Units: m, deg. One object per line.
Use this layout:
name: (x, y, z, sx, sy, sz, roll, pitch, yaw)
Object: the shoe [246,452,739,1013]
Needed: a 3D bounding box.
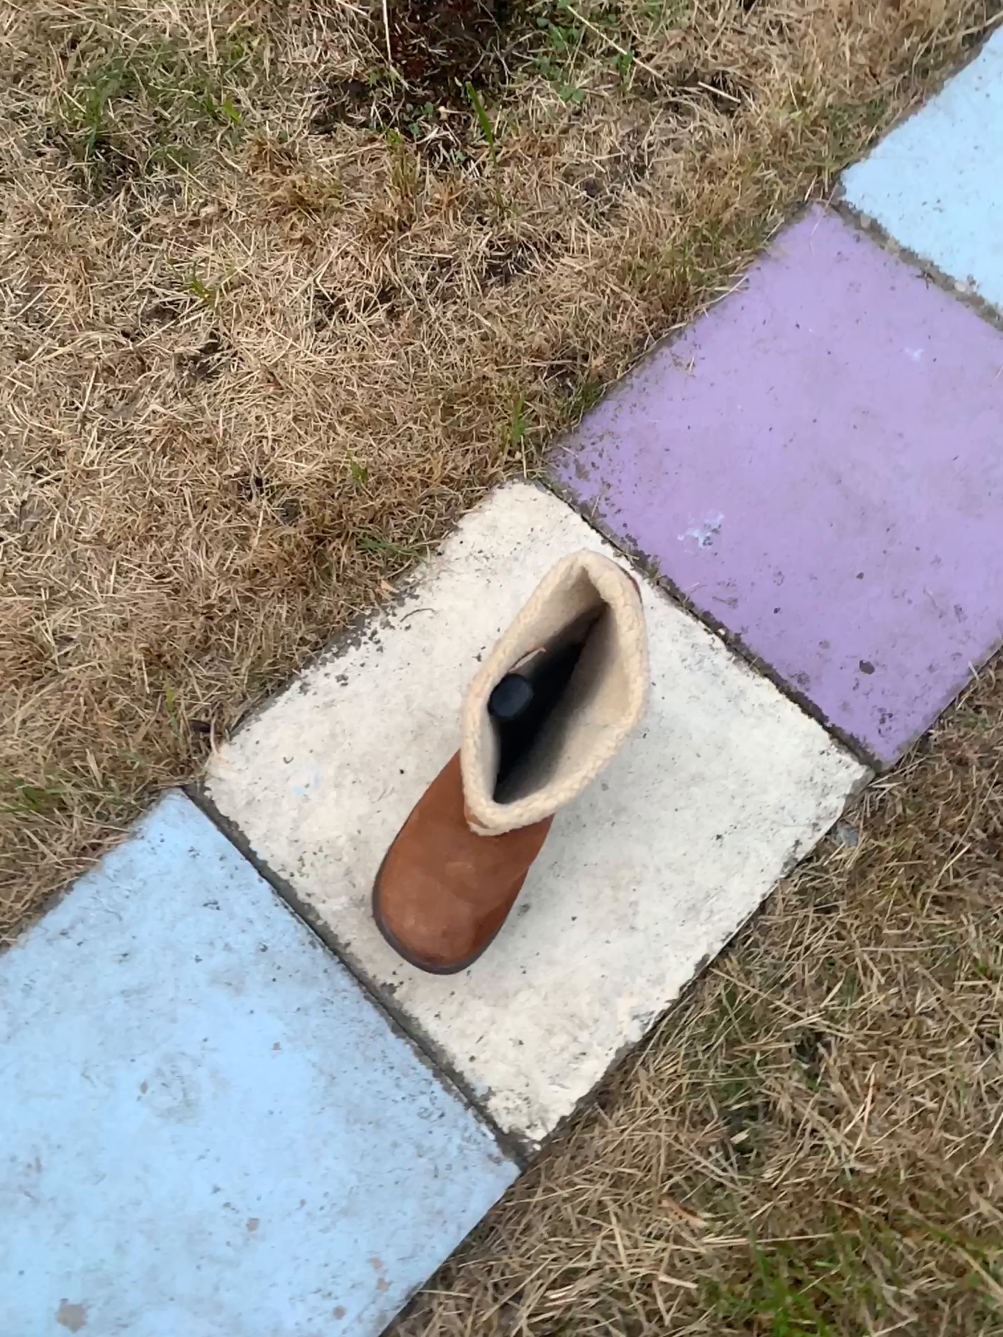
shoe: (0.000, 0.061, 0.635, 0.110, 0.299, 0.261, 33, 76, 9)
